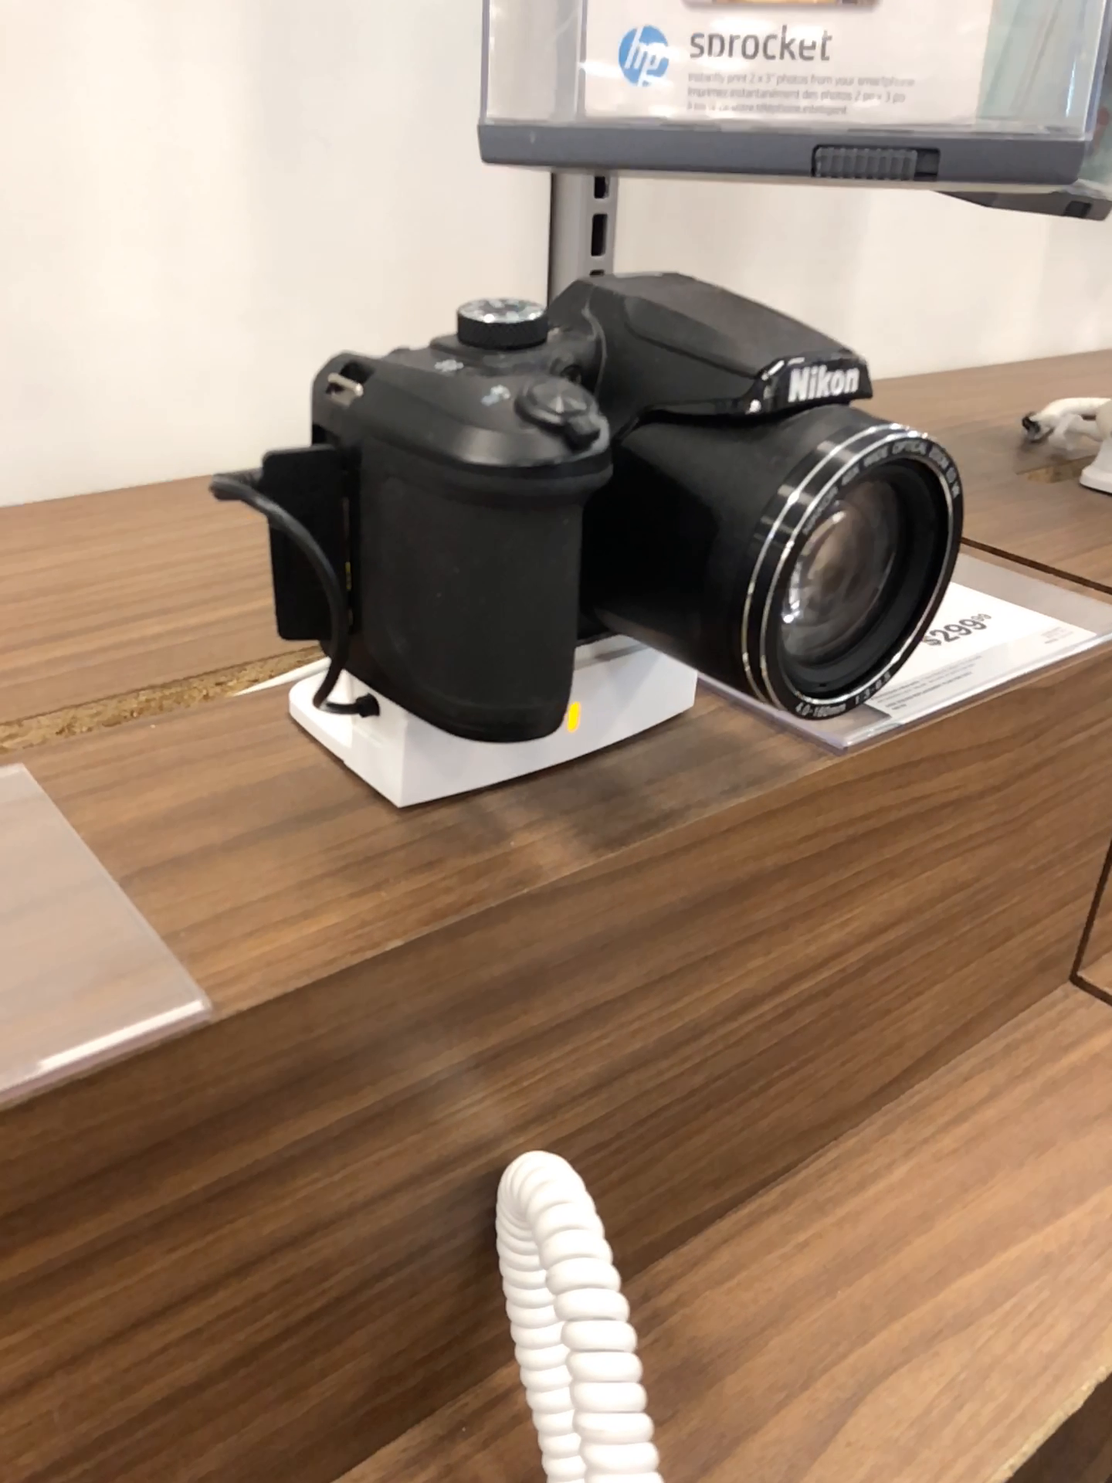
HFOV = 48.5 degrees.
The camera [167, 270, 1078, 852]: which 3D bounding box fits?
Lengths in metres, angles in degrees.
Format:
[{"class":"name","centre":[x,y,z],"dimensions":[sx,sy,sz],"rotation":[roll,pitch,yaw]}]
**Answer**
[{"class":"camera","centre":[0.010,-0.054,0.265],"dimensions":[0.130,0.070,0.130],"rotation":[-19,33,-36]}]
